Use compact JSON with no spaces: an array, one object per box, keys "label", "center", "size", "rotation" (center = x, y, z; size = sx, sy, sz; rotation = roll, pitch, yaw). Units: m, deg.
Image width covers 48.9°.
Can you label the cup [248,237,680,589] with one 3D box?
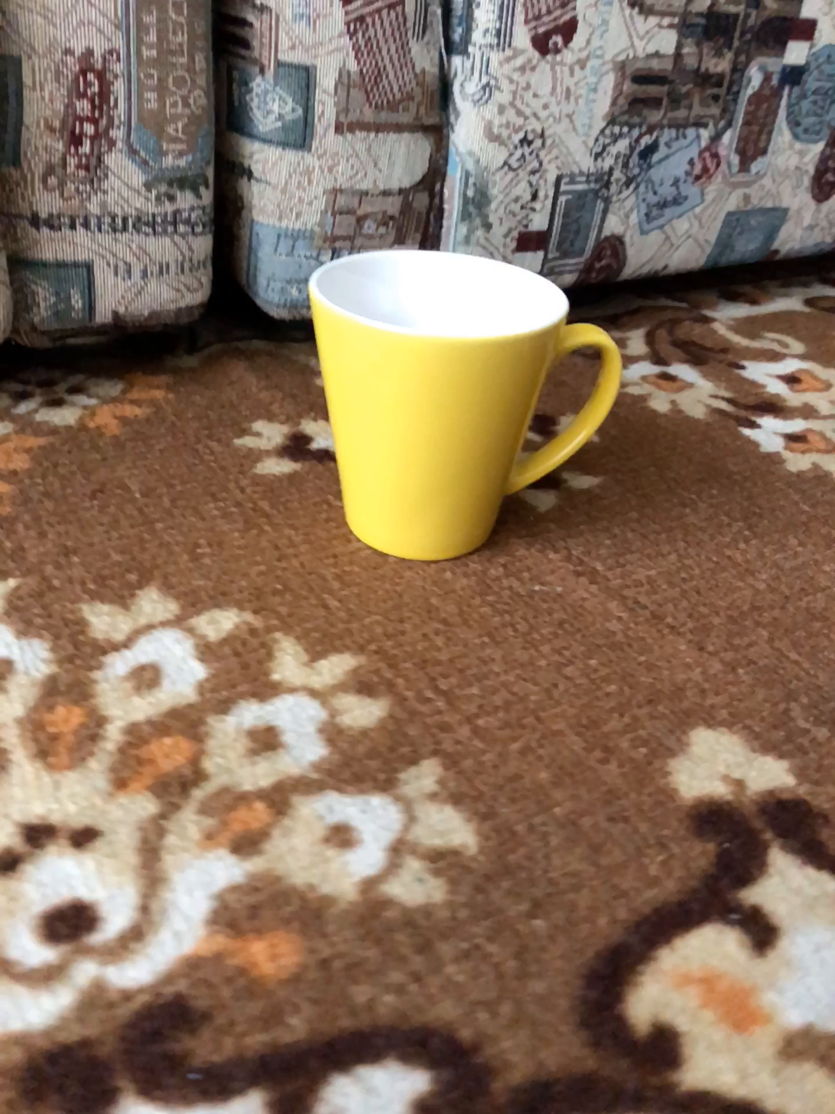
[{"label":"cup","center":[0.012,-0.063,0.354],"size":[0.125,0.088,0.098],"rotation":[-12,36,-25]}]
